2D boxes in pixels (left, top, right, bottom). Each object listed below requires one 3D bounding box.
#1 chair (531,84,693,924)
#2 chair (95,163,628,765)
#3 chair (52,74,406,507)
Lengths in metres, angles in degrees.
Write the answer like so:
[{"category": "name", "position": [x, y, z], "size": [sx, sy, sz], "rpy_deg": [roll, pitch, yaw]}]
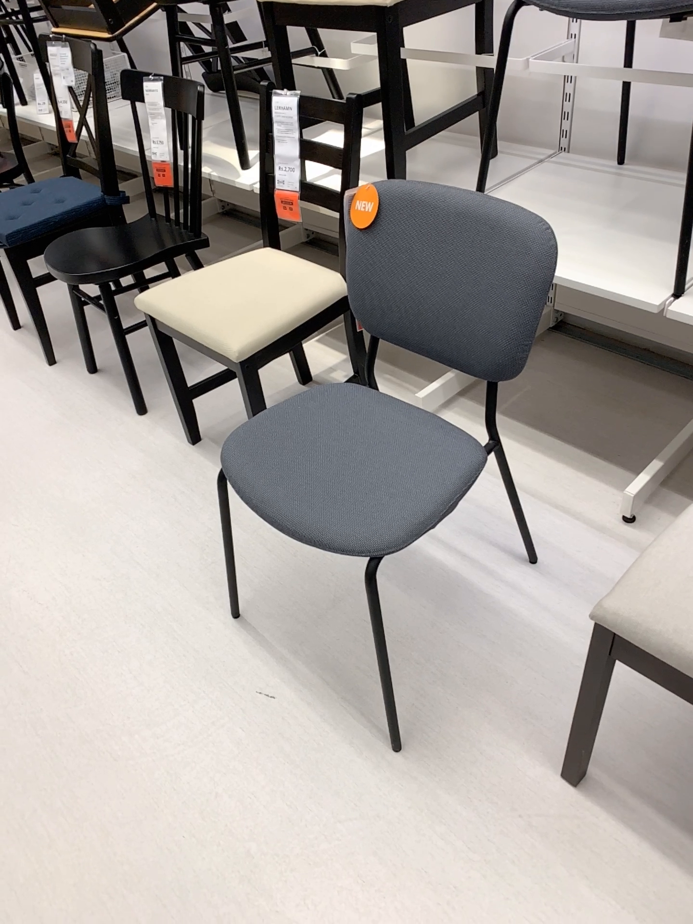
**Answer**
[{"category": "chair", "position": [0.613, 0.133, 0.871], "size": [0.482, 0.926, 0.531], "rpy_deg": [29, 53, 35]}, {"category": "chair", "position": [0.062, -0.018, 1.273], "size": [0.522, 0.757, 0.591], "rpy_deg": [29, 53, 35]}, {"category": "chair", "position": [-0.229, -0.428, 1.749], "size": [0.531, 0.807, 0.482], "rpy_deg": [-36, 48, -29]}]
